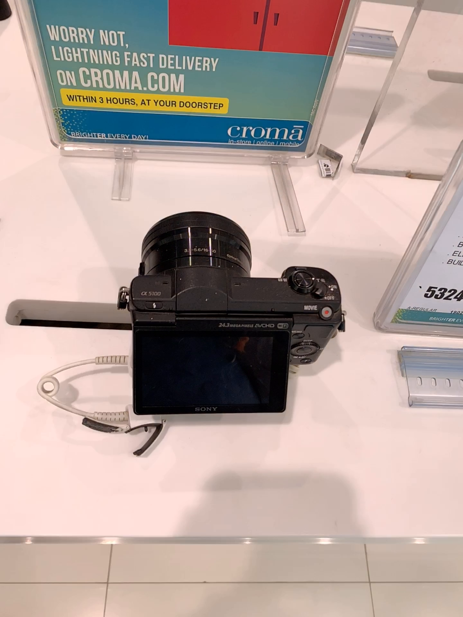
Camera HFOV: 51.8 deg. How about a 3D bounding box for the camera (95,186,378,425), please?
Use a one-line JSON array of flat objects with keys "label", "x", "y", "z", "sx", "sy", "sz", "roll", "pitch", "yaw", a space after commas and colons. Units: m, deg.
[{"label": "camera", "x": -0.003, "y": 0.002, "z": 0.242, "sx": 0.110, "sy": 0.082, "sz": 0.088, "roll": 0, "pitch": 59, "yaw": -7}]
